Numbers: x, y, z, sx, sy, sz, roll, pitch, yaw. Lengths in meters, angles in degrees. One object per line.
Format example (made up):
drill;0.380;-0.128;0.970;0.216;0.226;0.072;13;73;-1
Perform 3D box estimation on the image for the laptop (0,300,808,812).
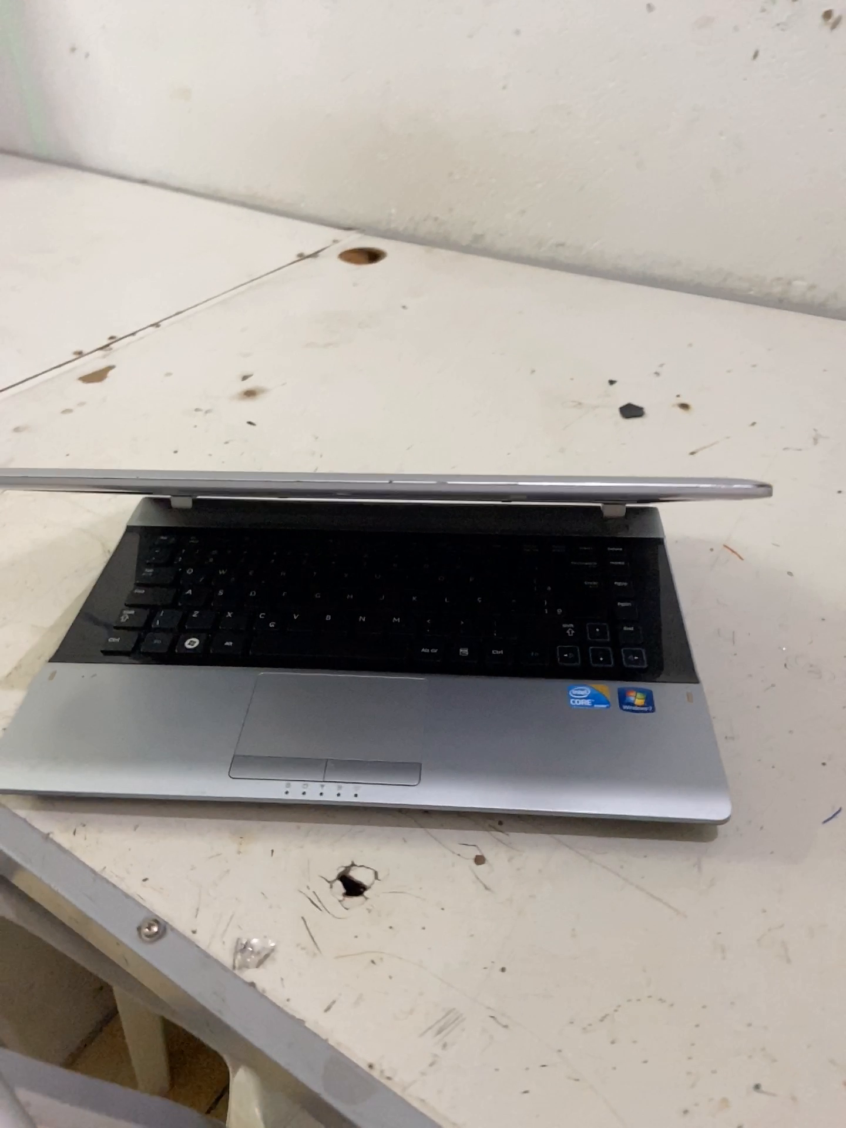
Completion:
laptop;-0.028;-0.021;0.436;0.336;0.133;0.233;1;39;3
